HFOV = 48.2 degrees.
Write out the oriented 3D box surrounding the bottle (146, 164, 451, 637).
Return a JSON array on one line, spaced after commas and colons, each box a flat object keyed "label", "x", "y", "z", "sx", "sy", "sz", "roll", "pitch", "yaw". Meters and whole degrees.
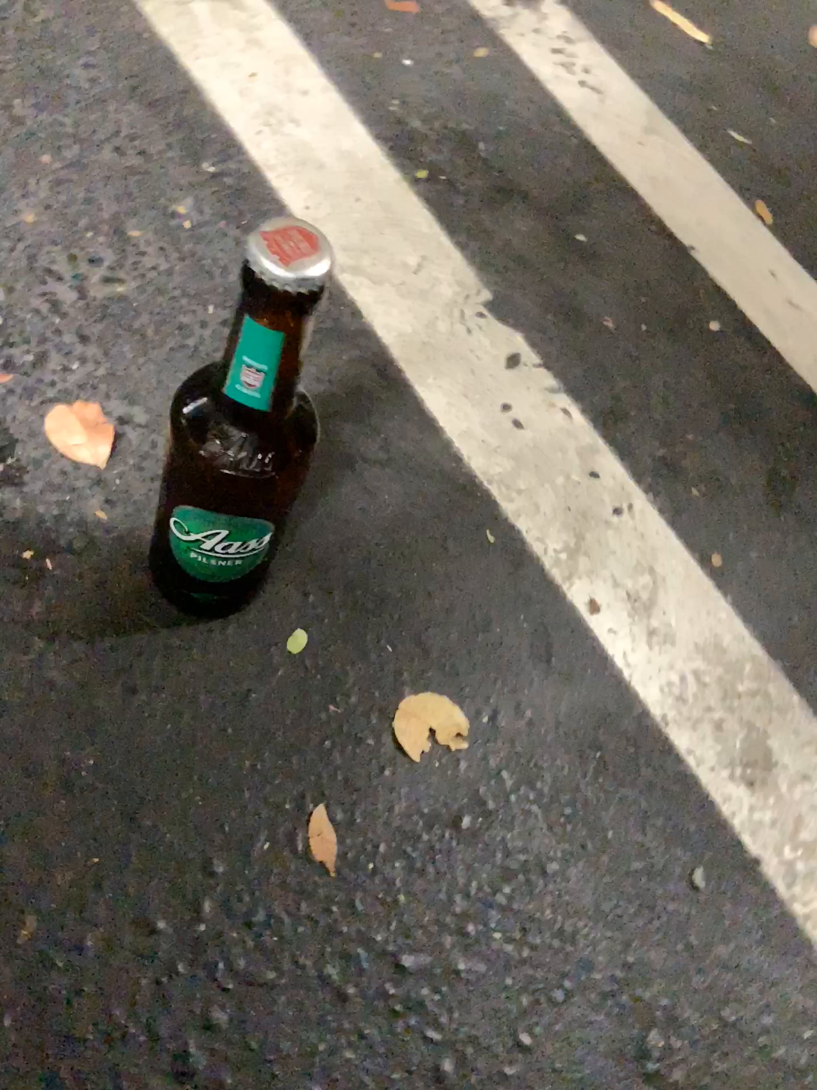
[{"label": "bottle", "x": -0.056, "y": -0.036, "z": 0.364, "sx": 0.070, "sy": 0.210, "sz": 0.070, "roll": 9, "pitch": 61, "yaw": -17}]
